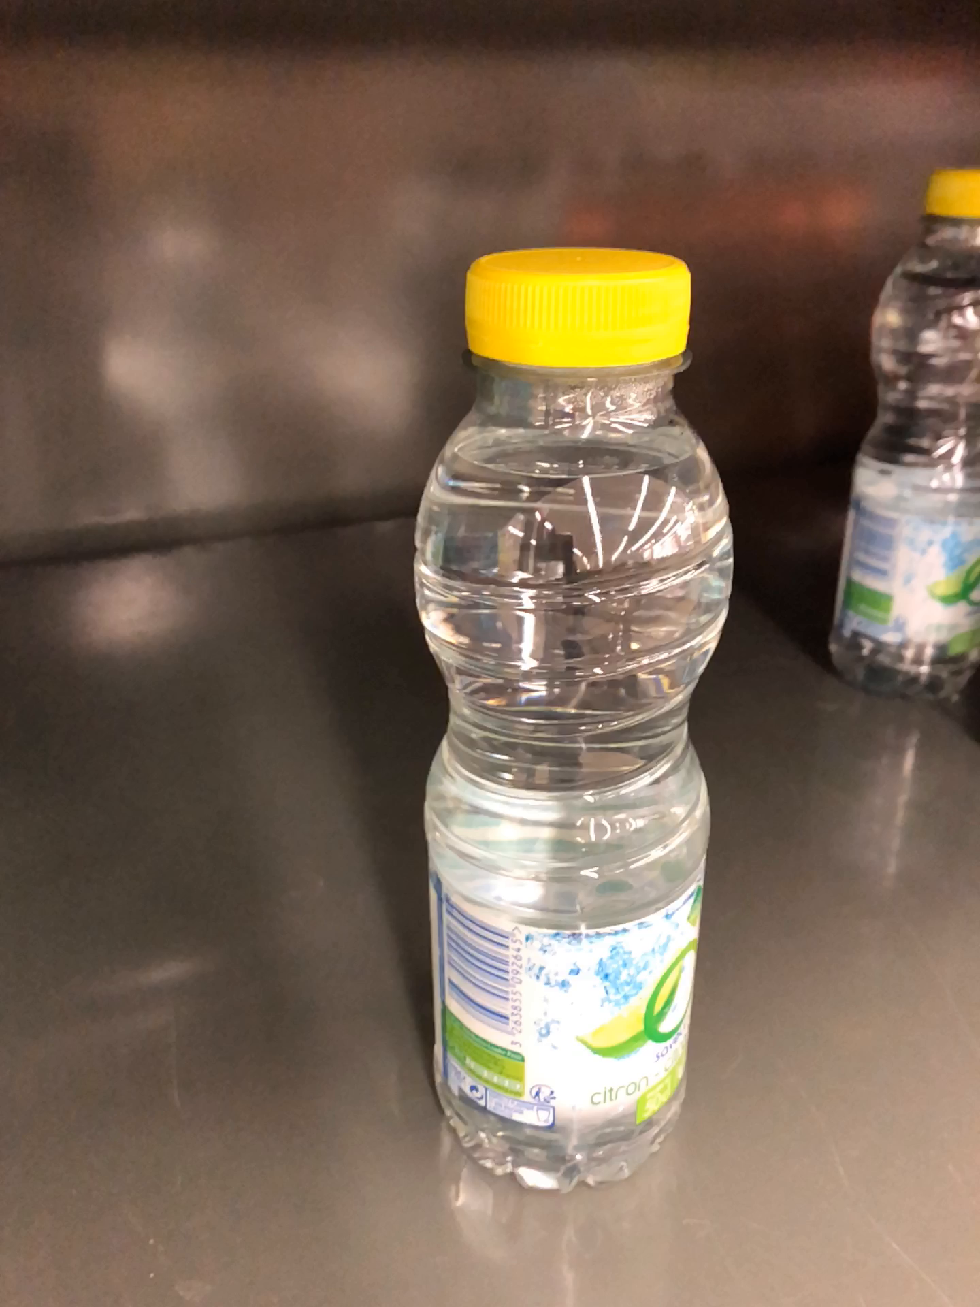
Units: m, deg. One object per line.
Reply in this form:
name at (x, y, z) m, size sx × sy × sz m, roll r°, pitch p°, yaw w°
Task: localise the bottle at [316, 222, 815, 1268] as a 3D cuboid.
bottle at (0.017, 0.021, 0.240) m, size 0.060 × 0.209 × 0.070 m, roll 17°, pitch 31°, yaw 34°
